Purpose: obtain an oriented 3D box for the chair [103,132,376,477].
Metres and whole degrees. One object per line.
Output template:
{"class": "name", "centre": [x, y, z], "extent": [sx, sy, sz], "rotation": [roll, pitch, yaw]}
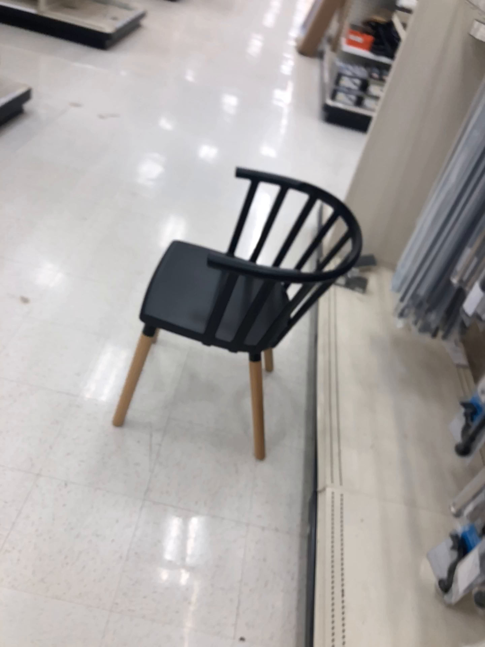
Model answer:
{"class": "chair", "centre": [-0.023, -0.050, 1.600], "extent": [0.567, 0.730, 0.537], "rotation": [15, 38, -1]}
